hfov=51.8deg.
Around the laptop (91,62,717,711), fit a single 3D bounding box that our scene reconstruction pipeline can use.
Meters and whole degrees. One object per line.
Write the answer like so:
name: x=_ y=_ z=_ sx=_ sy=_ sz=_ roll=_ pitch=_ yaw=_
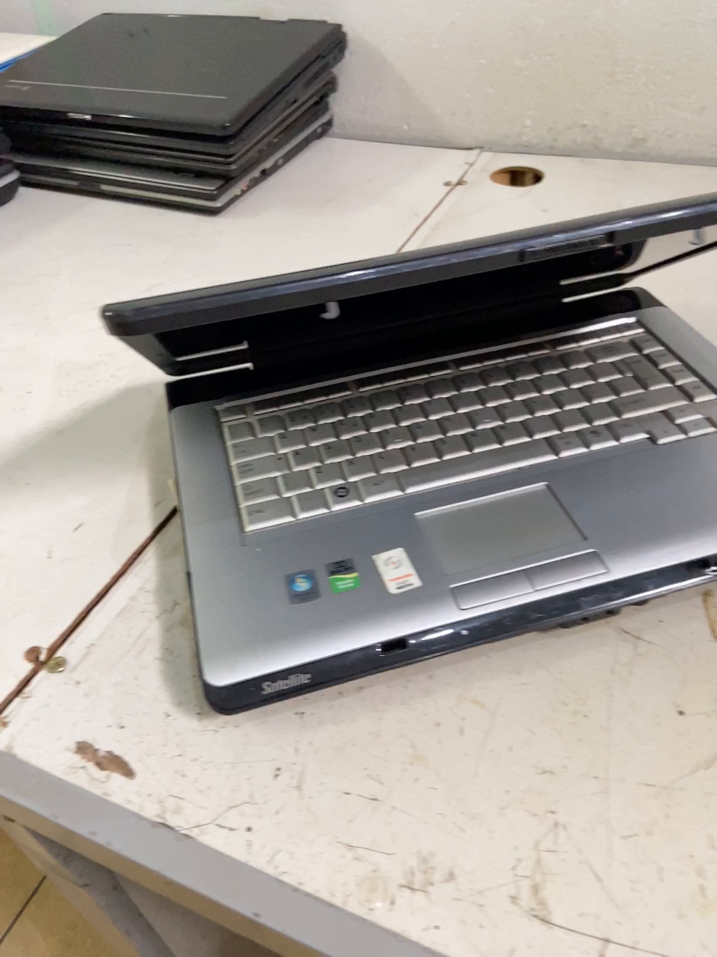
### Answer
laptop: x=0.062 y=-0.079 z=0.383 sx=0.346 sy=0.152 sz=0.259 roll=-13 pitch=42 yaw=-9
